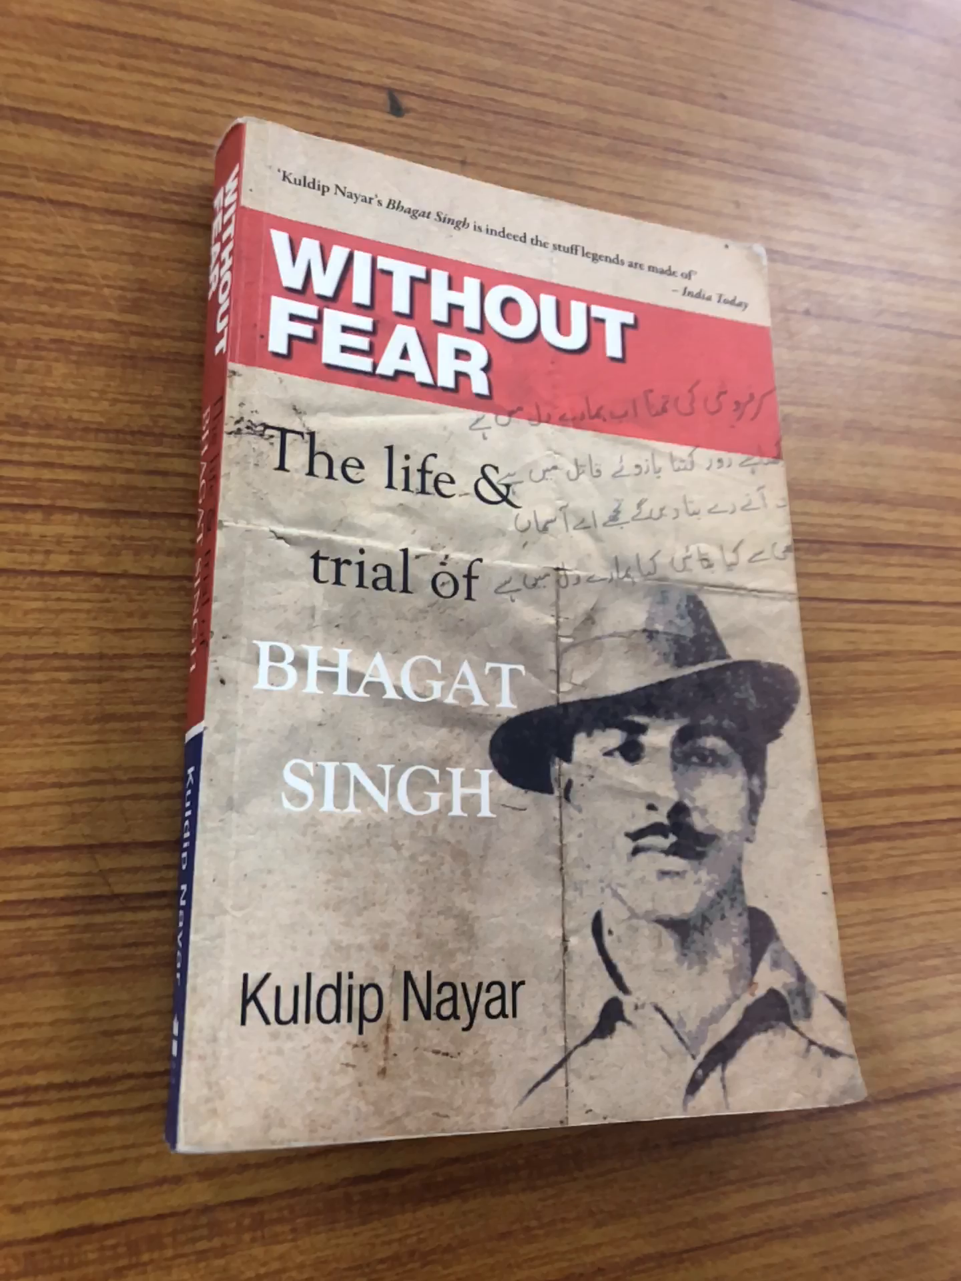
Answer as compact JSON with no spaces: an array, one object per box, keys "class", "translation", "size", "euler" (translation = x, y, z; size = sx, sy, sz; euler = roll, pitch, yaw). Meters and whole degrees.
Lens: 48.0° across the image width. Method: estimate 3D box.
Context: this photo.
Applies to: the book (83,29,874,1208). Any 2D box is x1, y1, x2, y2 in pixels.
[{"class":"book","translation":[0.004,-0.009,0.222],"size":[0.140,0.030,0.210],"euler":[6,73,-20]}]
